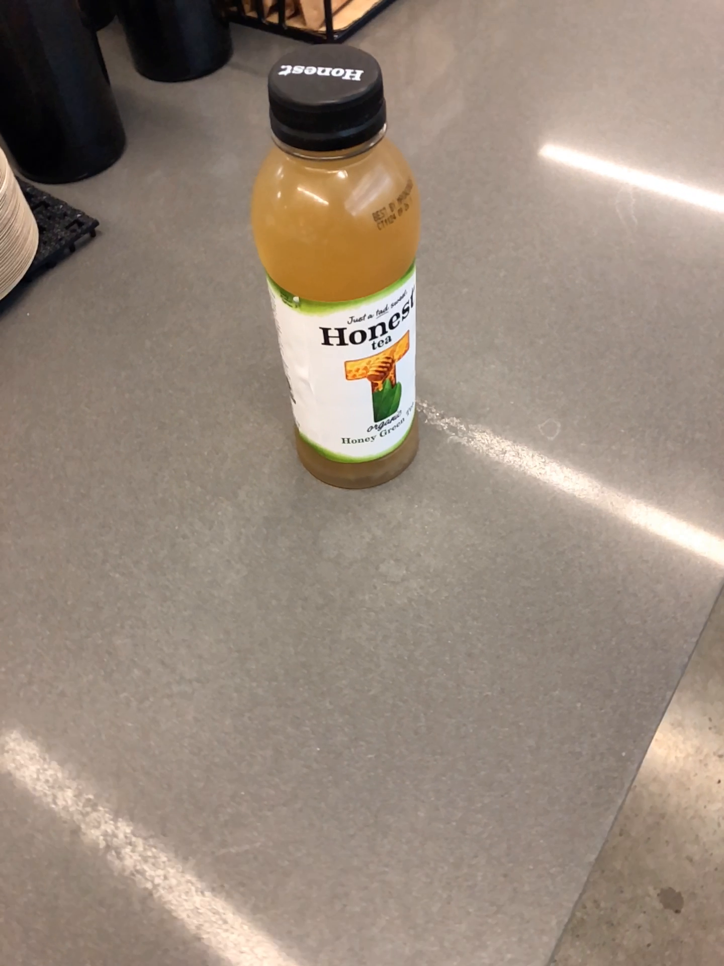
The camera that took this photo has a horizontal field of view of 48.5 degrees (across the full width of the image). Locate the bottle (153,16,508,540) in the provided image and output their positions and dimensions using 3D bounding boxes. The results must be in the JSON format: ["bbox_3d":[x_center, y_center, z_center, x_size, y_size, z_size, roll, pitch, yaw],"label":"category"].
[{"bbox_3d":[-0.007,-0.078,0.359,0.090,0.189,0.090,-2,54,3],"label":"bottle"}]
